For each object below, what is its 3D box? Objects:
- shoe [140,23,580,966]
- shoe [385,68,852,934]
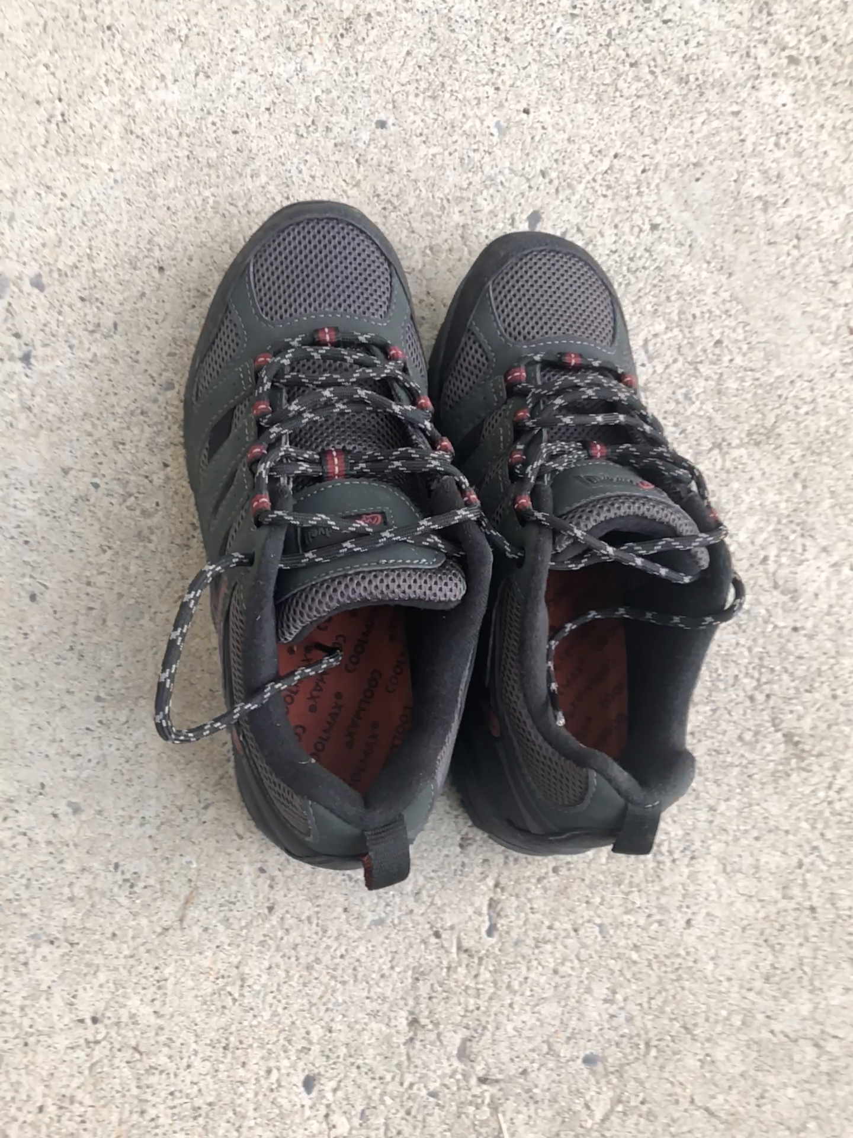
[{"bbox_3d":[-0.037,-0.029,0.364,0.120,0.110,0.302,-4,83,-16],"label":"shoe"},{"bbox_3d":[0.068,-0.028,0.388,0.120,0.110,0.300,-4,83,-16],"label":"shoe"}]
